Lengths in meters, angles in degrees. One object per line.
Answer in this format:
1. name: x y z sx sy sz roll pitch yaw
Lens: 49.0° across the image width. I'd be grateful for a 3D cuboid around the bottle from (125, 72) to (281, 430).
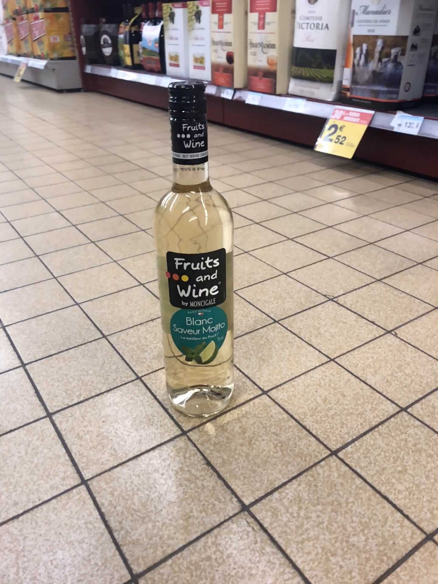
1. bottle: -0.014 -0.029 0.432 0.100 0.298 0.090 -7 29 -12
